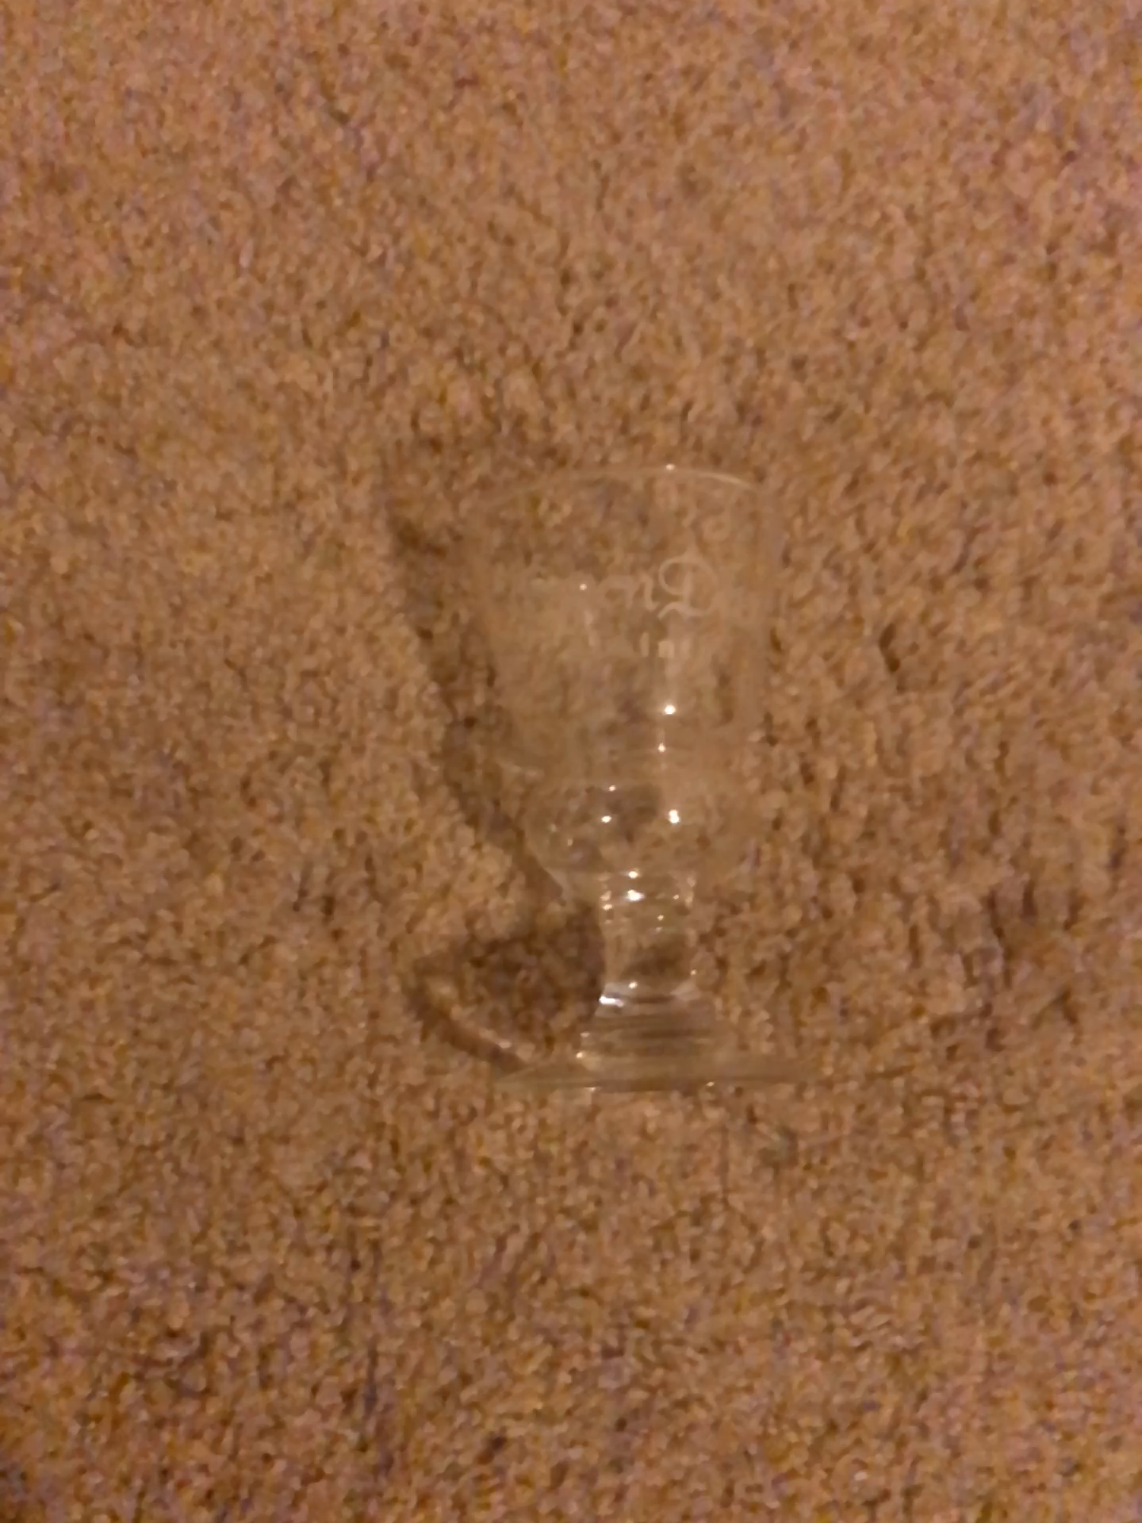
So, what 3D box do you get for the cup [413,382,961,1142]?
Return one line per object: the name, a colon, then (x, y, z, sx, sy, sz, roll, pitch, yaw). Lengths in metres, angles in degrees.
cup: (0.018, 0.003, 0.303, 0.094, 0.078, 0.157, -2, 76, -13)
